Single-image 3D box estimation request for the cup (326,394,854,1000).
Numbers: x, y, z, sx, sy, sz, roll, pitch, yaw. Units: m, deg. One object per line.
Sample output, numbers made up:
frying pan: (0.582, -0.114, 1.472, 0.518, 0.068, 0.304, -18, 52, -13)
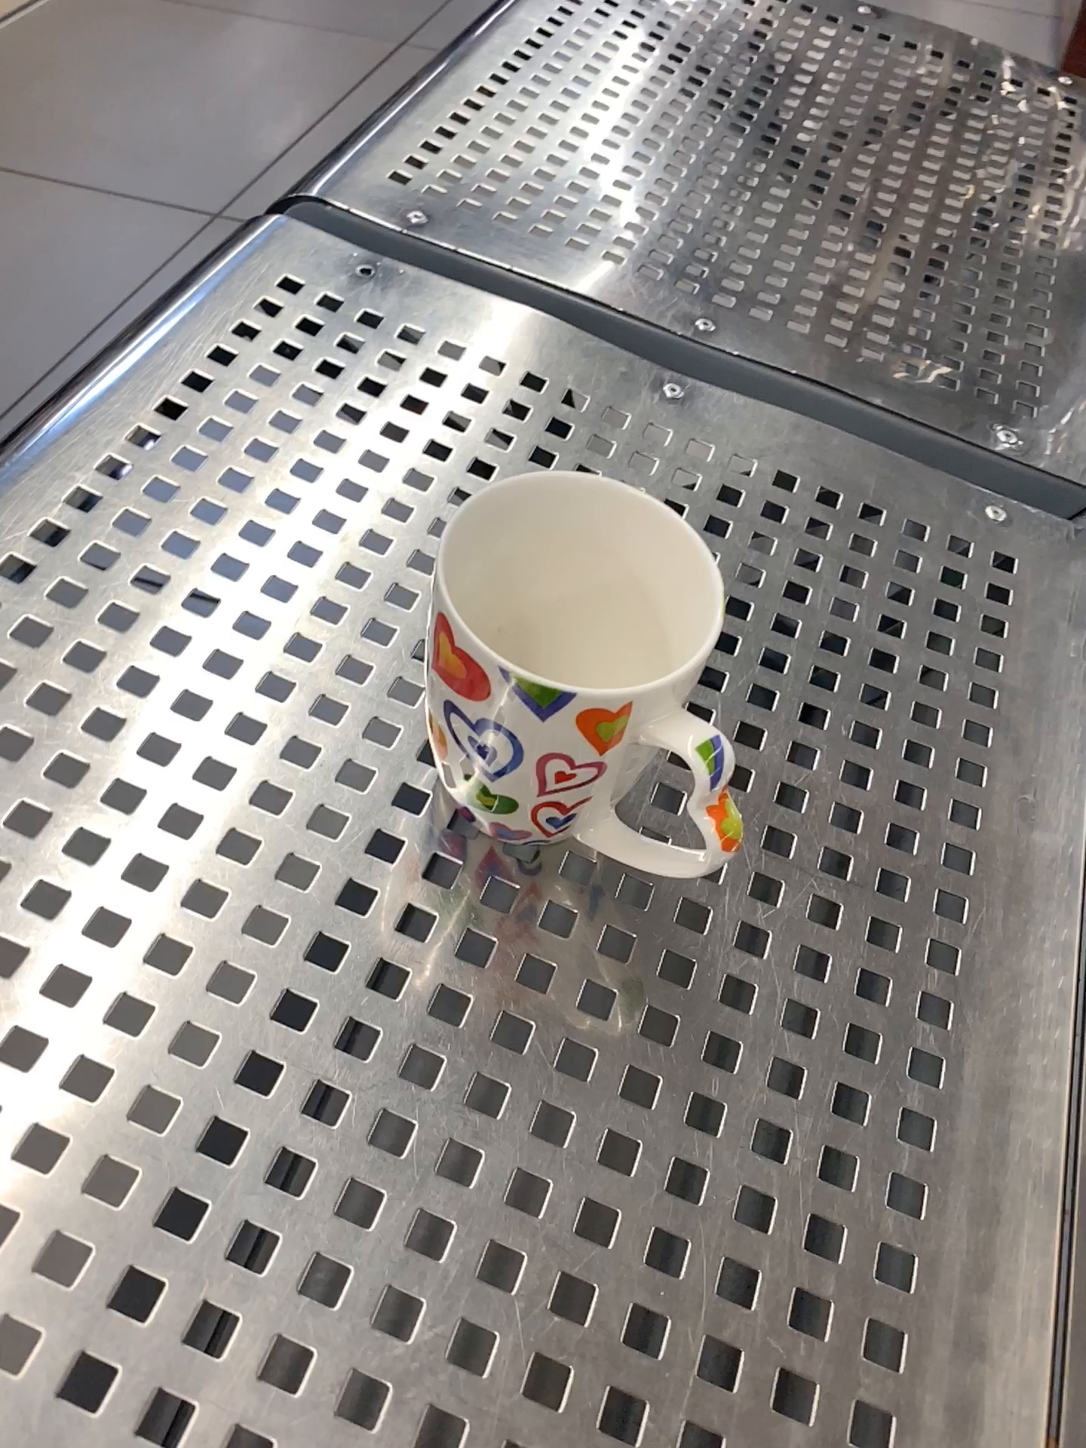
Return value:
cup: (0.003, -0.007, 0.315, 0.070, 0.100, 0.120, -31, 66, -27)
